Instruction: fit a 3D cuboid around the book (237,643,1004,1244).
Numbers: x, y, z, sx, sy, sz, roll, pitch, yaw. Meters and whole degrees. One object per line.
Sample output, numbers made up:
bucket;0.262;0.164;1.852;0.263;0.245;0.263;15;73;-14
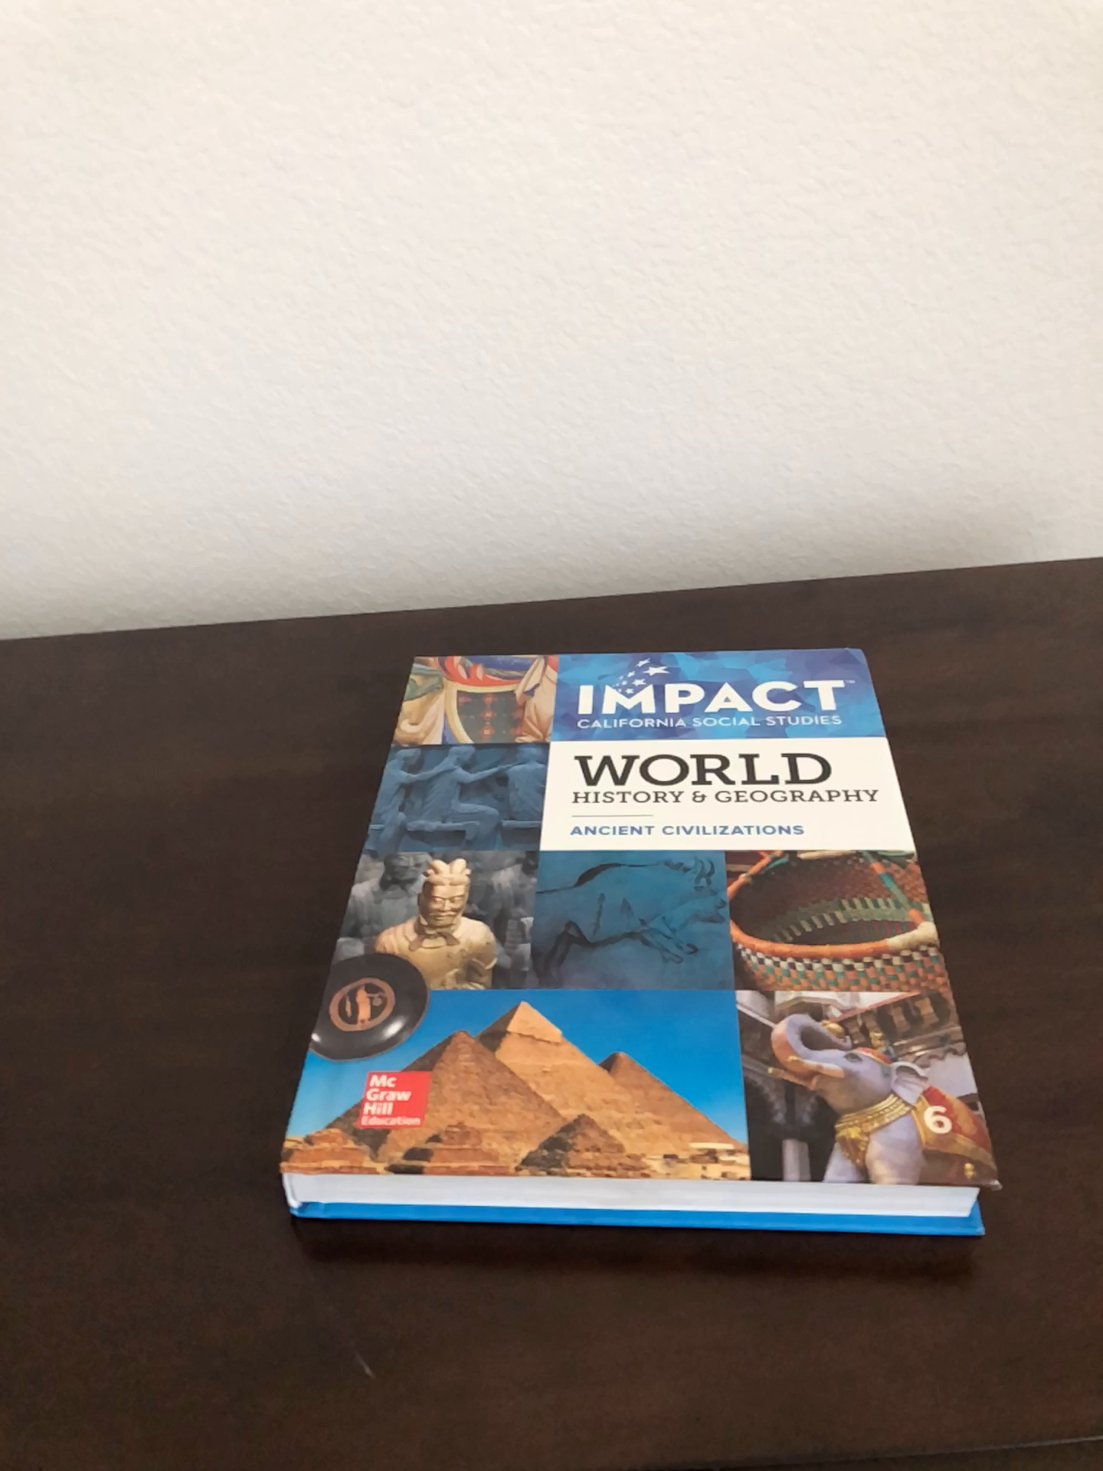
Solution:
book;0.028;0.055;0.482;0.227;0.030;0.286;0;38;5
